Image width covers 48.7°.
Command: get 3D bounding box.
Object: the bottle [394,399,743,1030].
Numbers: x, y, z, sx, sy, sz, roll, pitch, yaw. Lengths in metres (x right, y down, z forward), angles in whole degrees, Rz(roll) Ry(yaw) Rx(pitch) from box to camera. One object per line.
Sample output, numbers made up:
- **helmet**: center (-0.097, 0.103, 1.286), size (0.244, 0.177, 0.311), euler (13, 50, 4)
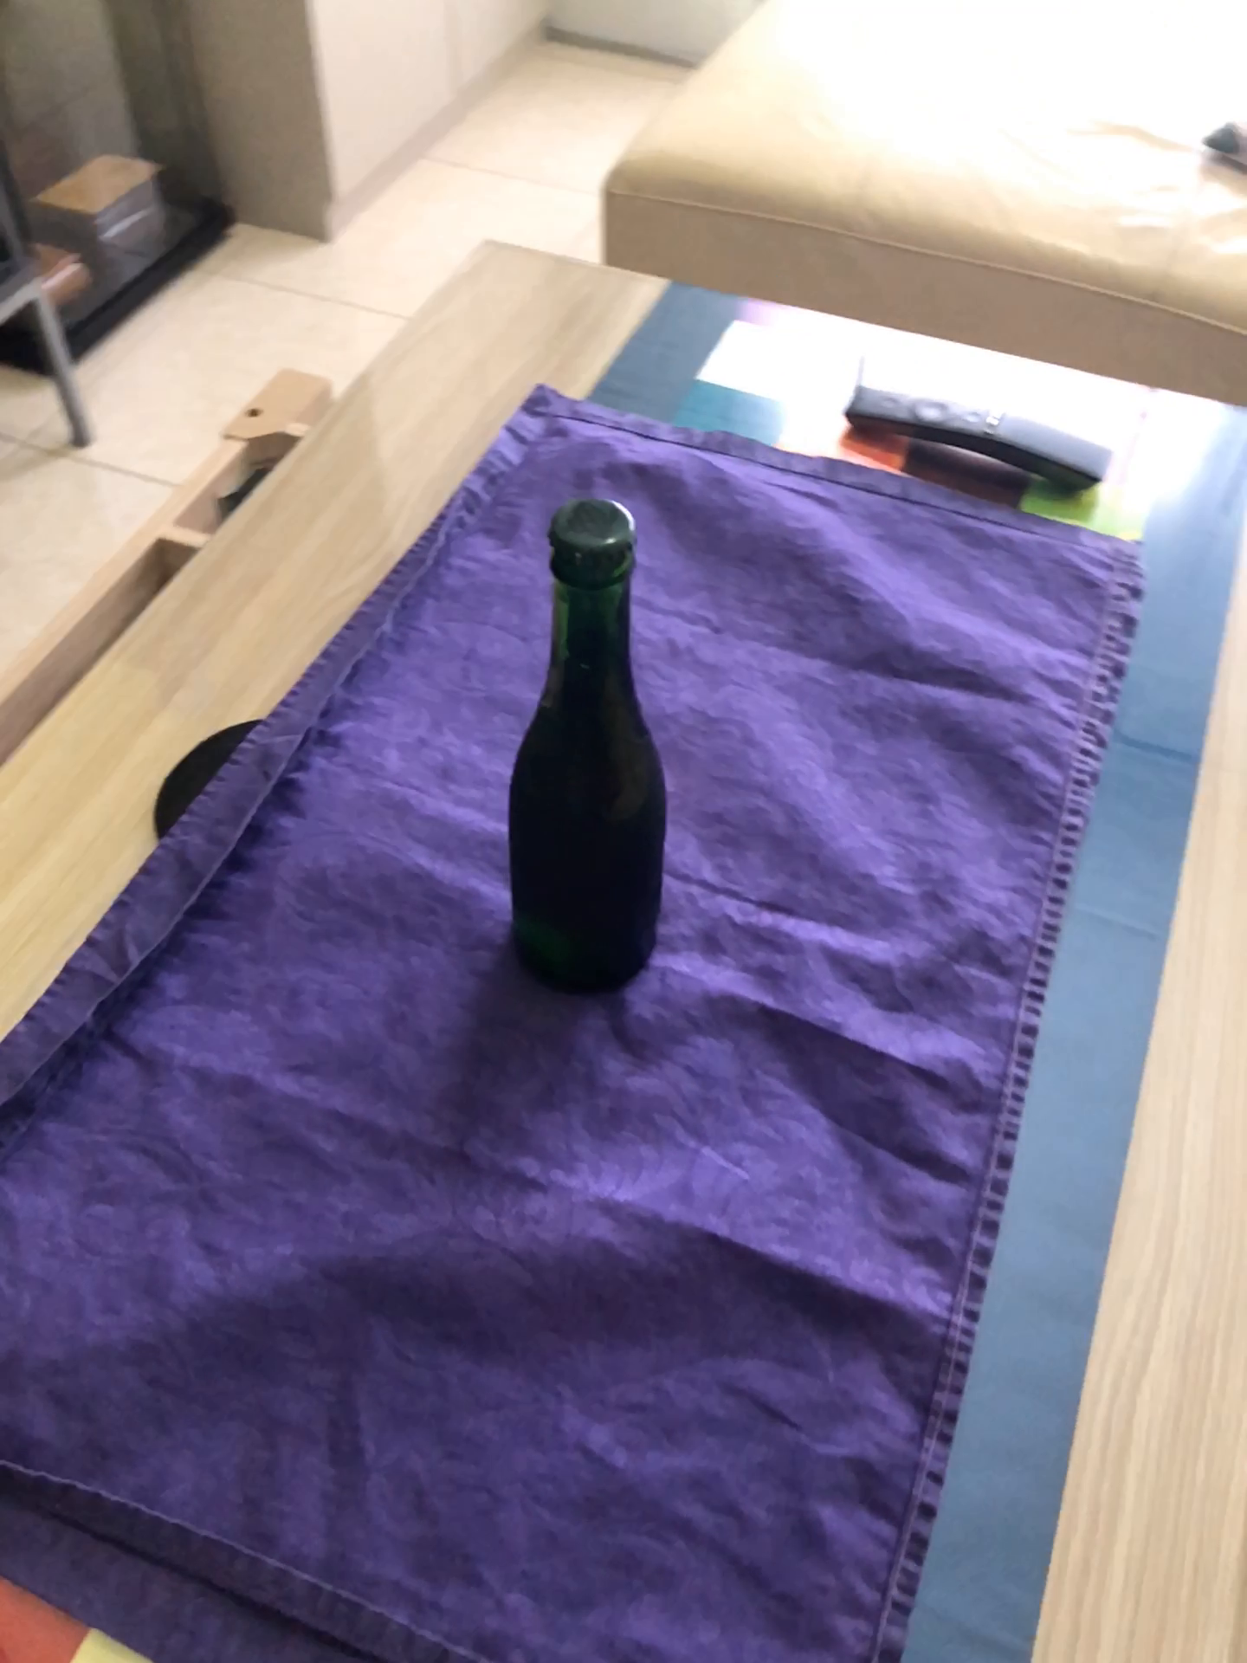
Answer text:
- **bottle**: center (-0.020, -0.031, 0.503), size (0.080, 0.219, 0.070), euler (35, 57, 24)
